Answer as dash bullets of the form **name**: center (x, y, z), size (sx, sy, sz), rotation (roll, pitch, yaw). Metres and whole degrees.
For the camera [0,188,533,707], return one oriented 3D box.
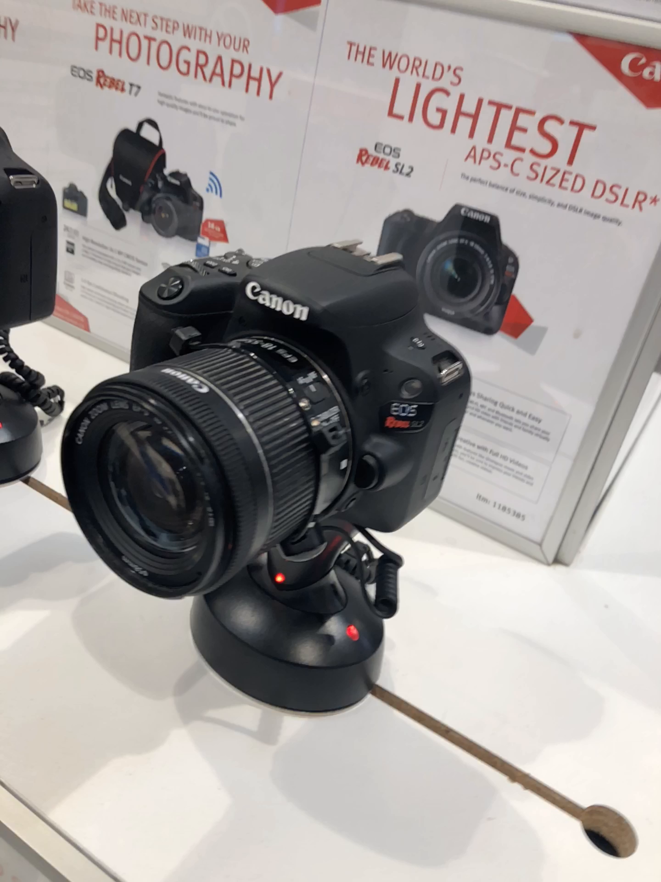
- **camera**: center (-0.029, -0.017, 0.238), size (0.130, 0.089, 0.120), rotation (27, 31, 25)
